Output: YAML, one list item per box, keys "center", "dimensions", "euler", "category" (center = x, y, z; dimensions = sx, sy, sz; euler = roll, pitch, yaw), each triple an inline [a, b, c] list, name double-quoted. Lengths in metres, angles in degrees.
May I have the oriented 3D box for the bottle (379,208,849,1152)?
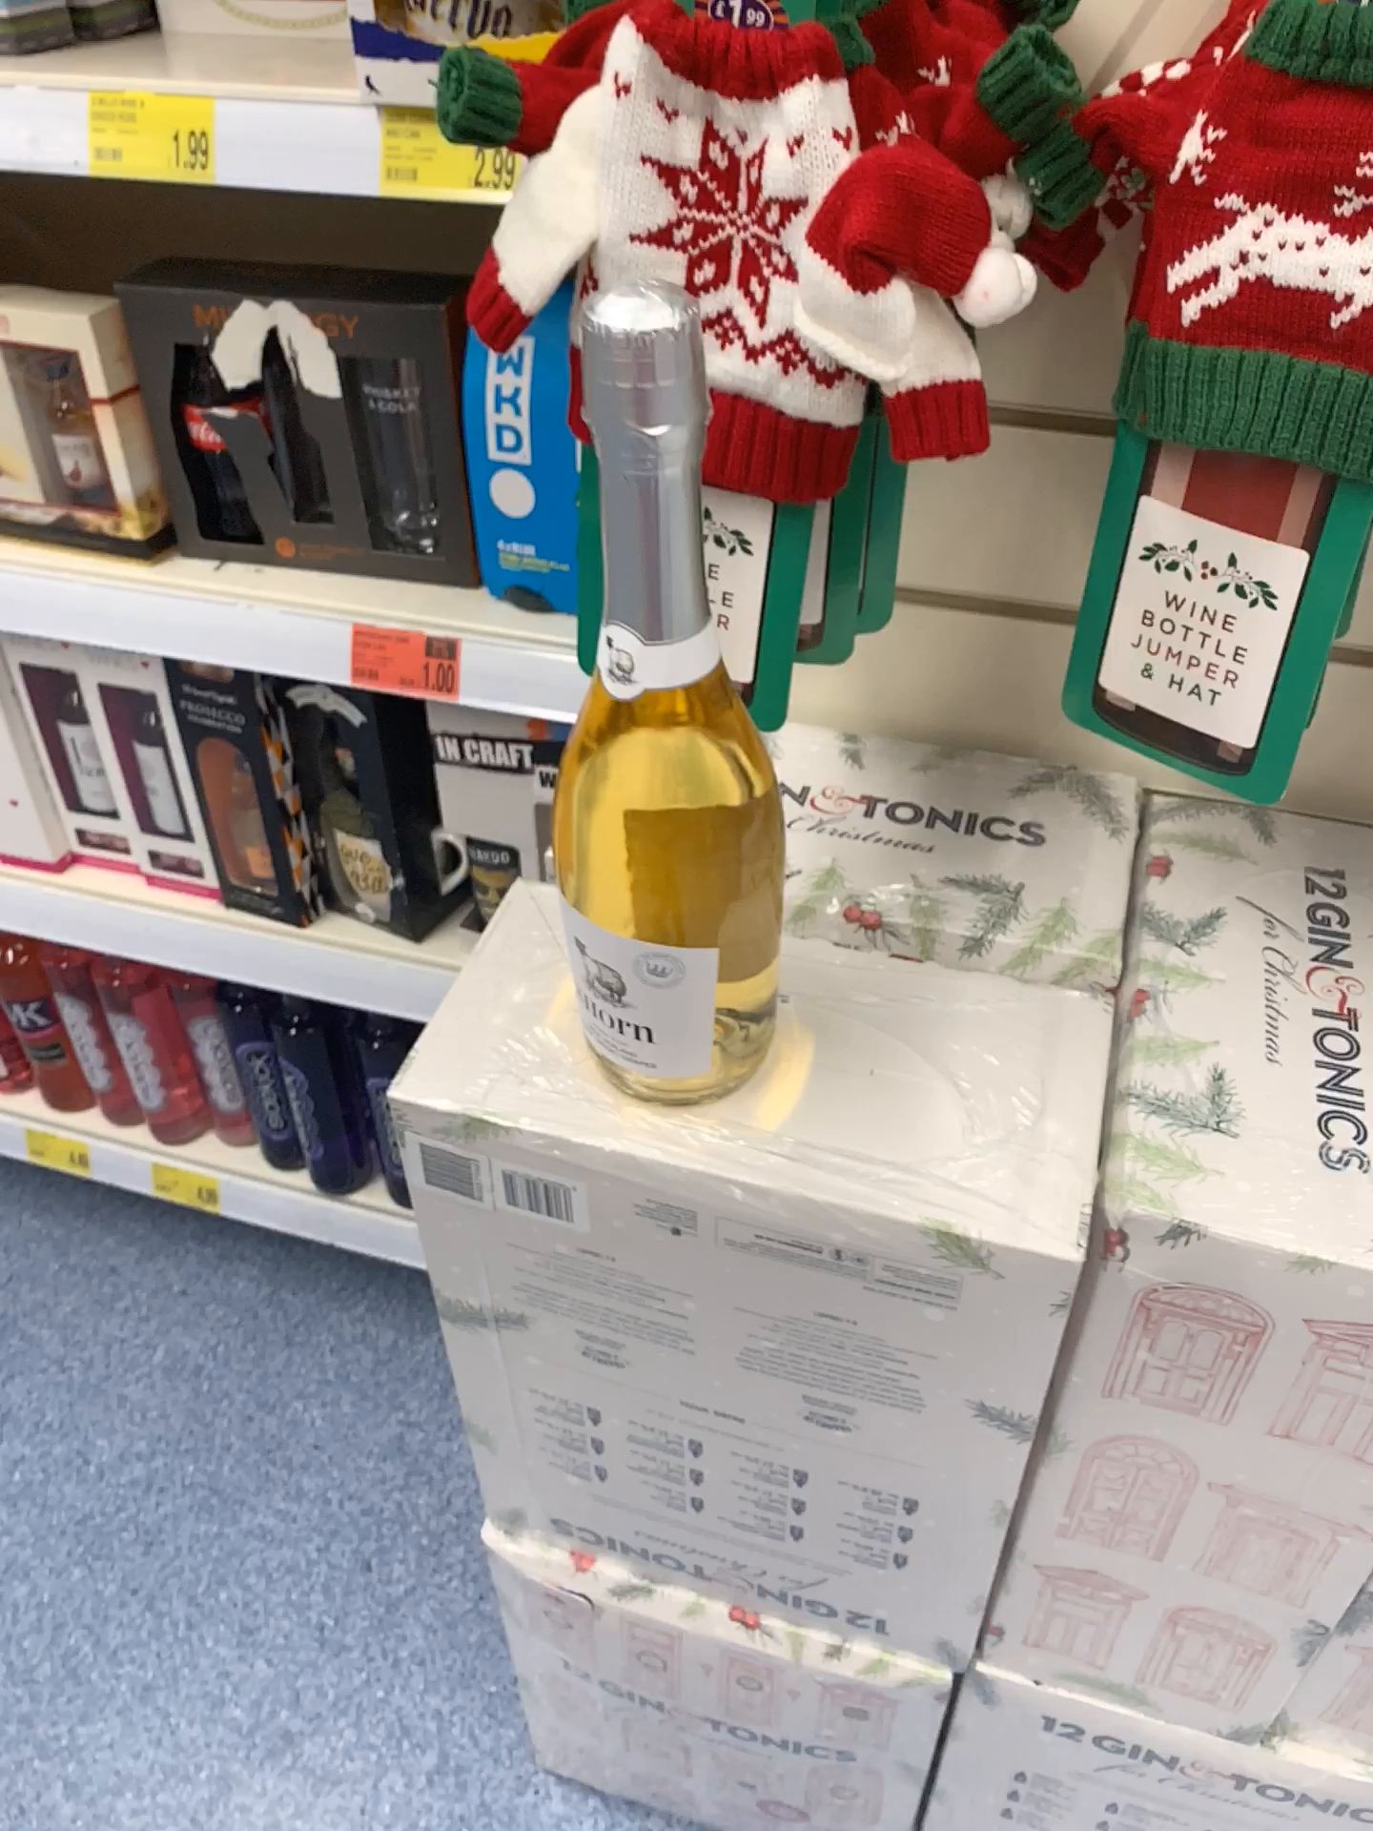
- center: [-0.018, -0.068, 0.494]
  dimensions: [0.095, 0.298, 0.095]
  euler: [0, 39, 0]
  category: "bottle"
